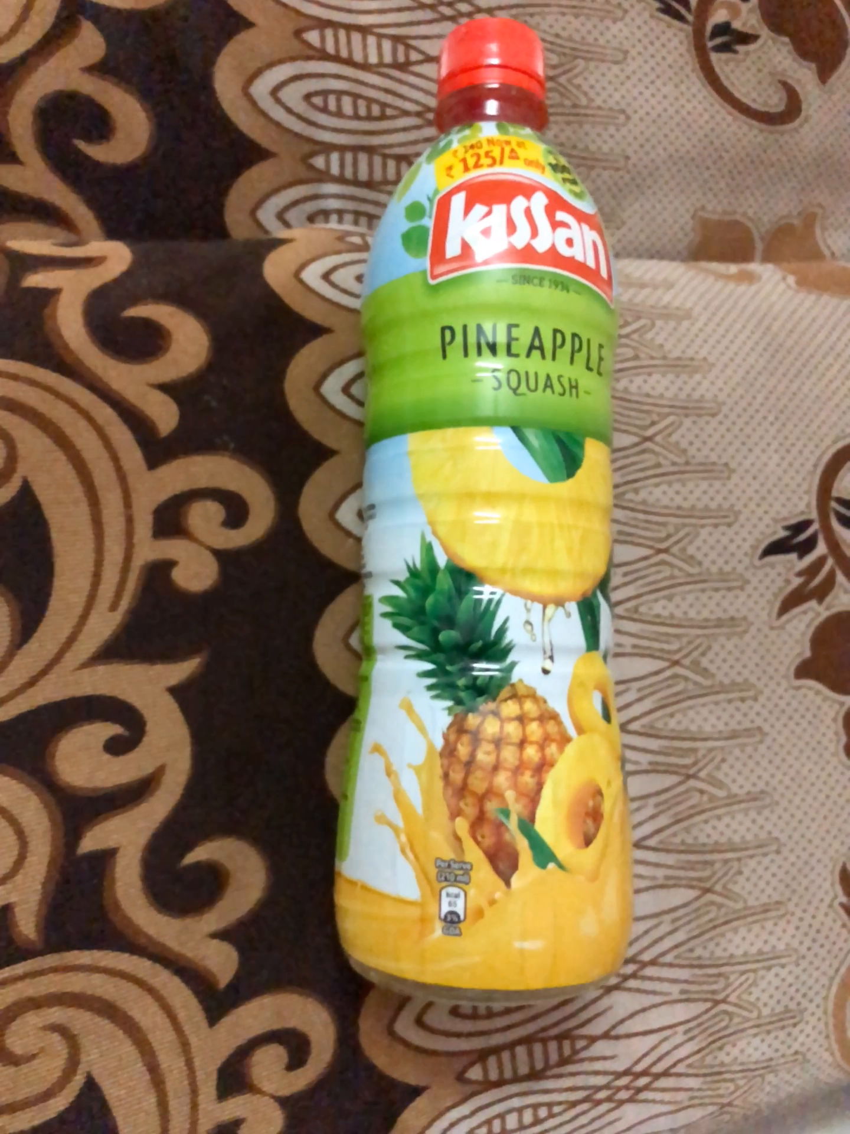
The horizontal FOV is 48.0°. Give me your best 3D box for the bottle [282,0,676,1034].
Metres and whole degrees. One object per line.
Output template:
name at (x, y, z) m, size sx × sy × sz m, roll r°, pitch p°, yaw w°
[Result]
bottle at (0.013, -0.026, 0.235) m, size 0.070 × 0.060 × 0.240 m, roll 4°, pitch 84°, yaw -23°
